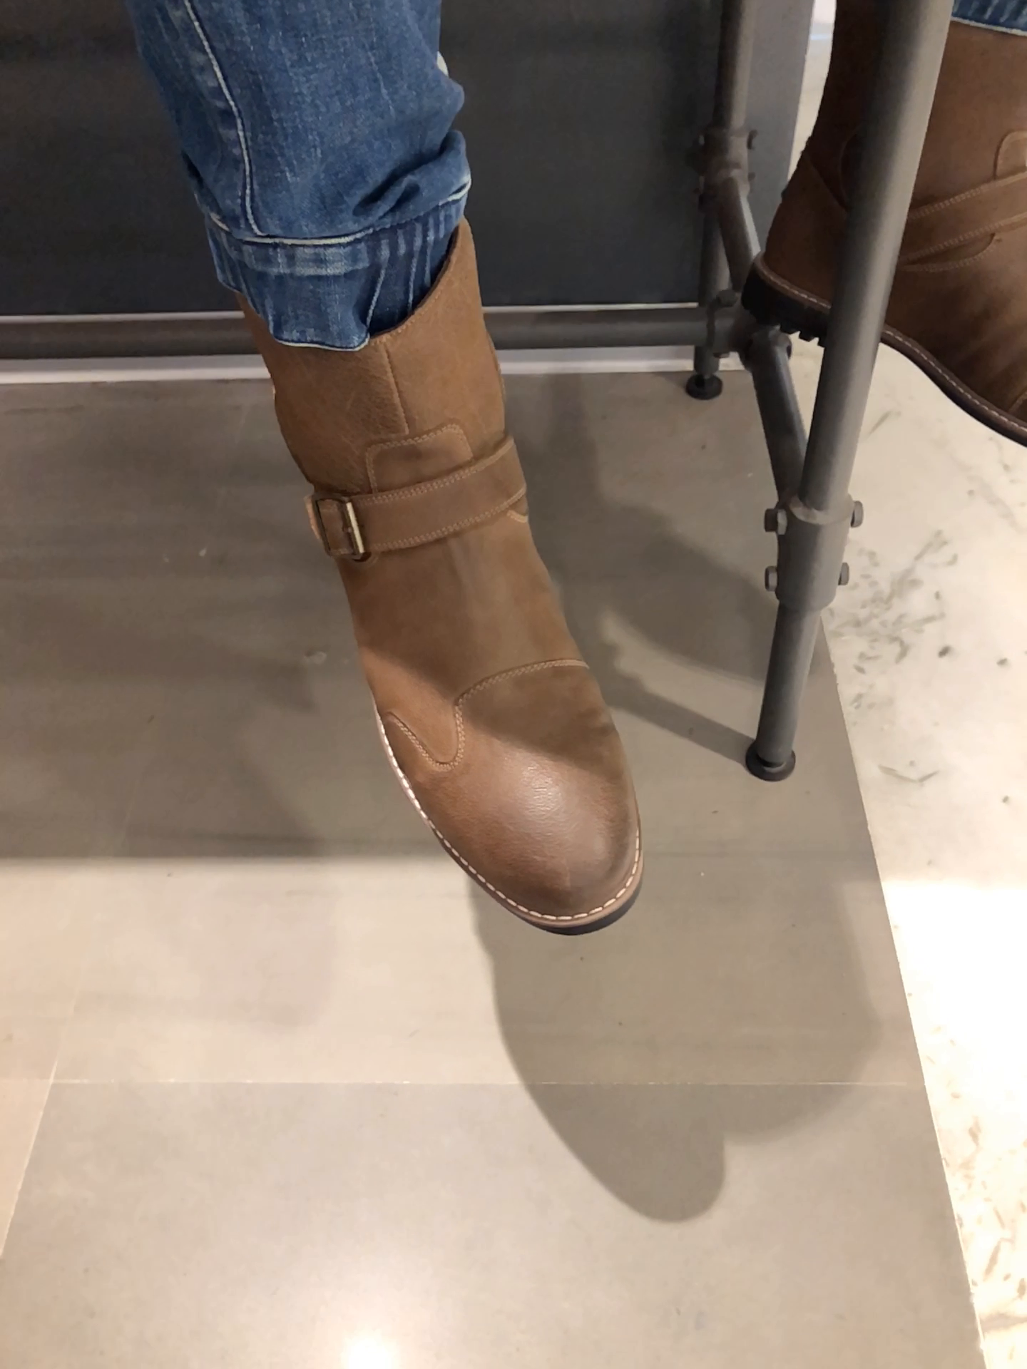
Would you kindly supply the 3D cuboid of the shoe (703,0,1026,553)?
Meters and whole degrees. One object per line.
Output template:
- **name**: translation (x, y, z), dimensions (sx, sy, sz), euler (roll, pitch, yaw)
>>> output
- **shoe**: translation (0.301, -0.258, 0.647), dimensions (0.324, 0.206, 0.114), euler (34, 48, 20)

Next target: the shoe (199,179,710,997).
- **shoe**: translation (-0.028, -0.046, 0.495), dimensions (0.109, 0.206, 0.275), euler (-19, 52, -8)
